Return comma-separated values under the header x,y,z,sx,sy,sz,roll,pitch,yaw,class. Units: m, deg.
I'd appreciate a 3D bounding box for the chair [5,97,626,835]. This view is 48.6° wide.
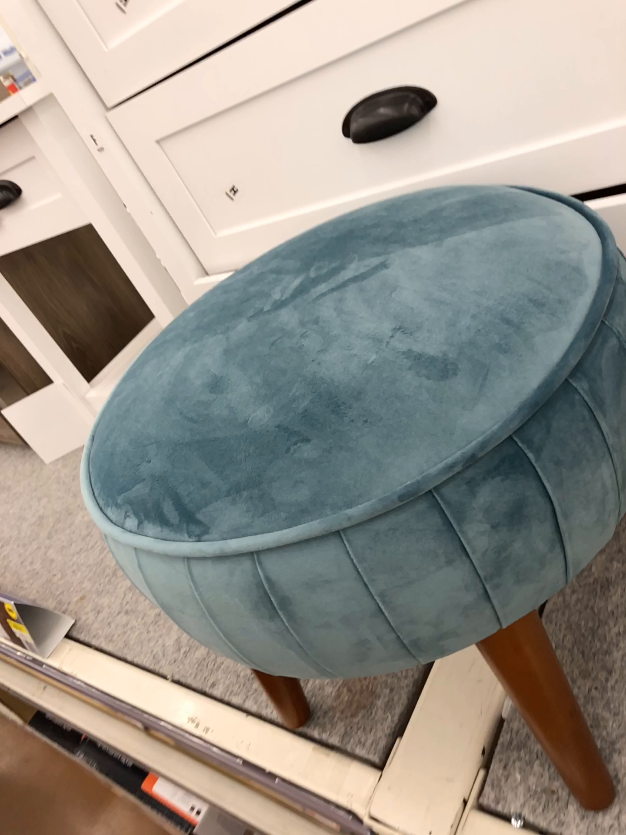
x,y,z,sx,sy,sz,roll,pitch,yaw,class
0.090,0.052,0.592,0.372,0.398,0.370,1,43,42,chair
